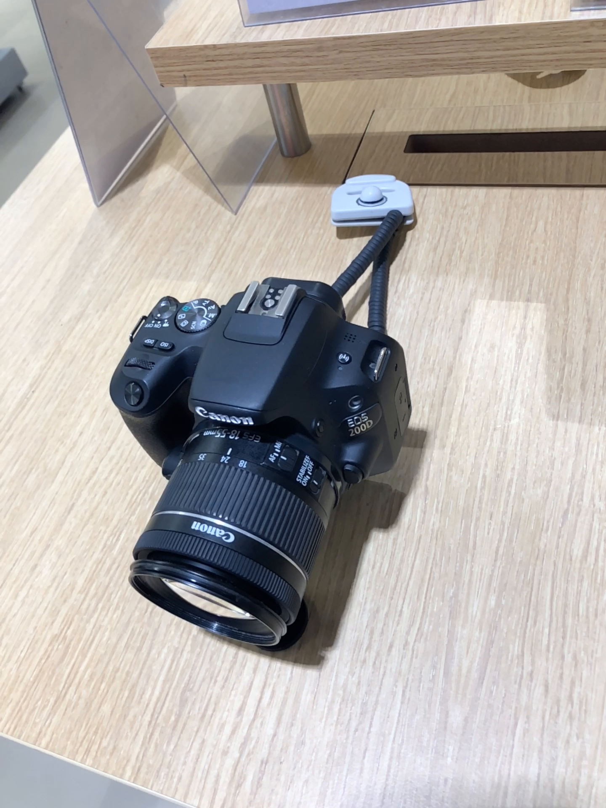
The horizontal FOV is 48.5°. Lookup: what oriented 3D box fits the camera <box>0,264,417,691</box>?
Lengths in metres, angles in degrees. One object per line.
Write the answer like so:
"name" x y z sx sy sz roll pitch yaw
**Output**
"camera" -0.038 0.020 0.254 0.130 0.080 0.115 8 56 22
